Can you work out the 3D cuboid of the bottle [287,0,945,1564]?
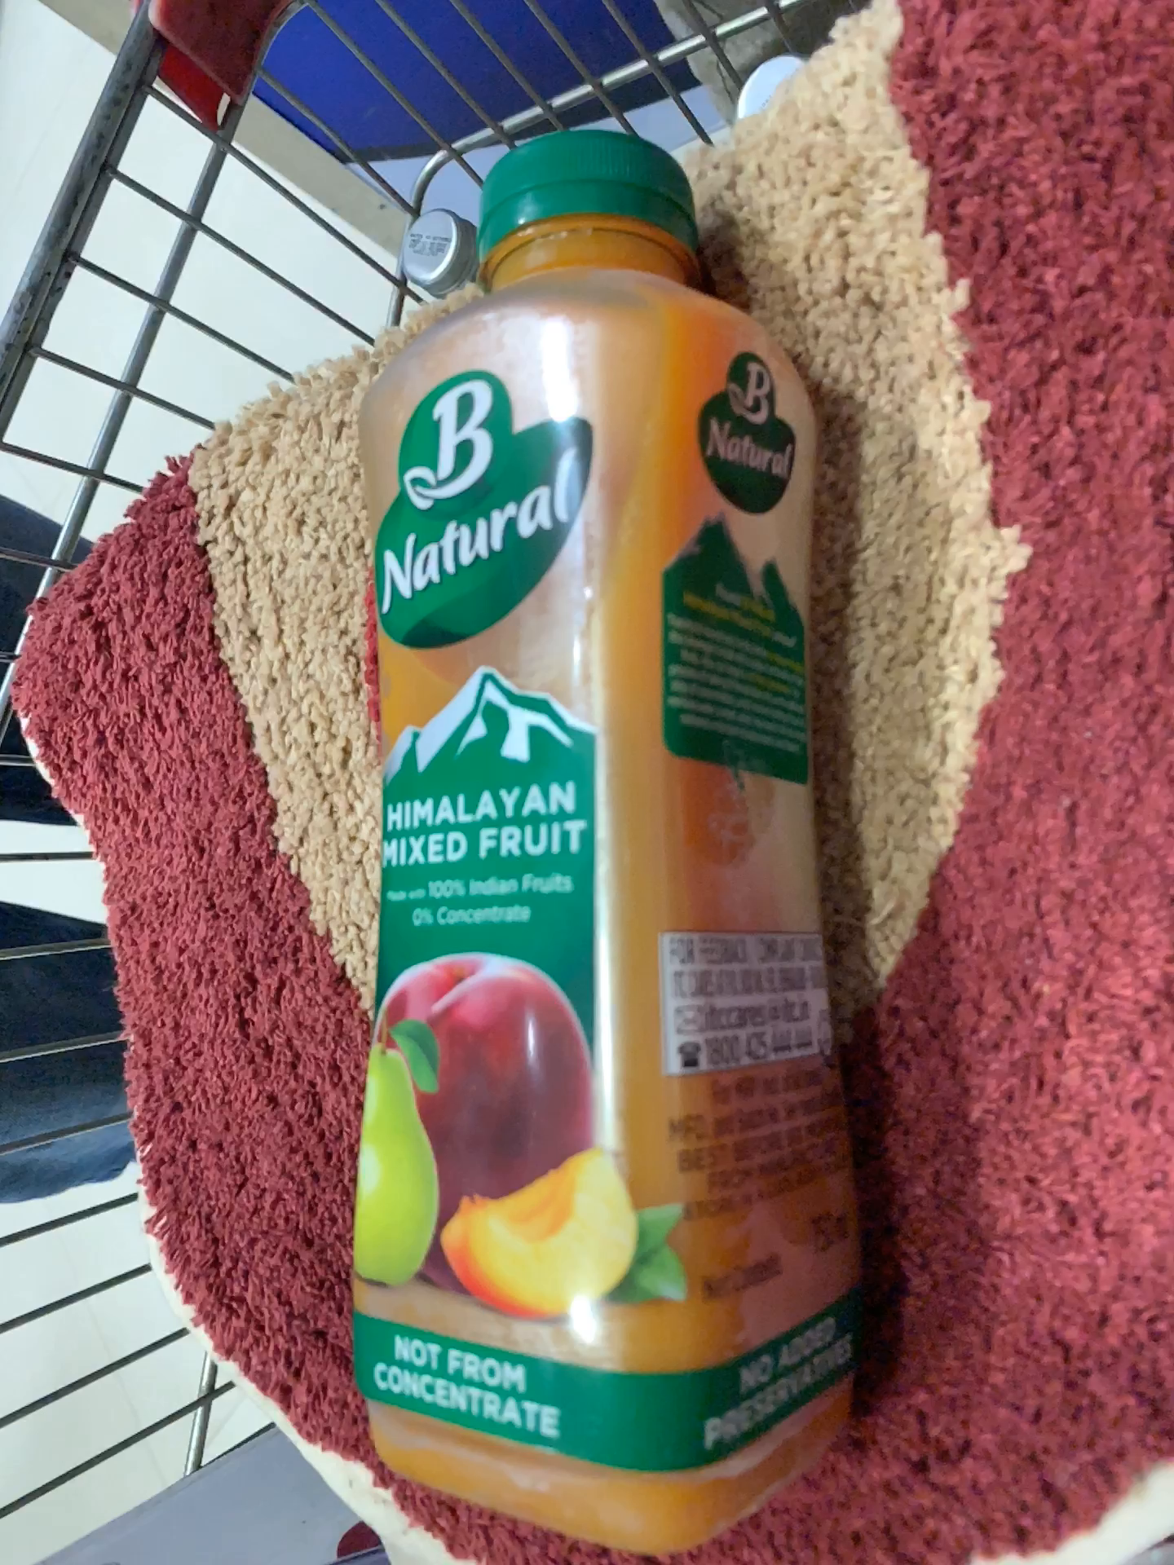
[{"bbox_3d":[0.011,-0.009,0.198,0.070,0.070,0.230,-5,77,35],"label":"bottle"}]
